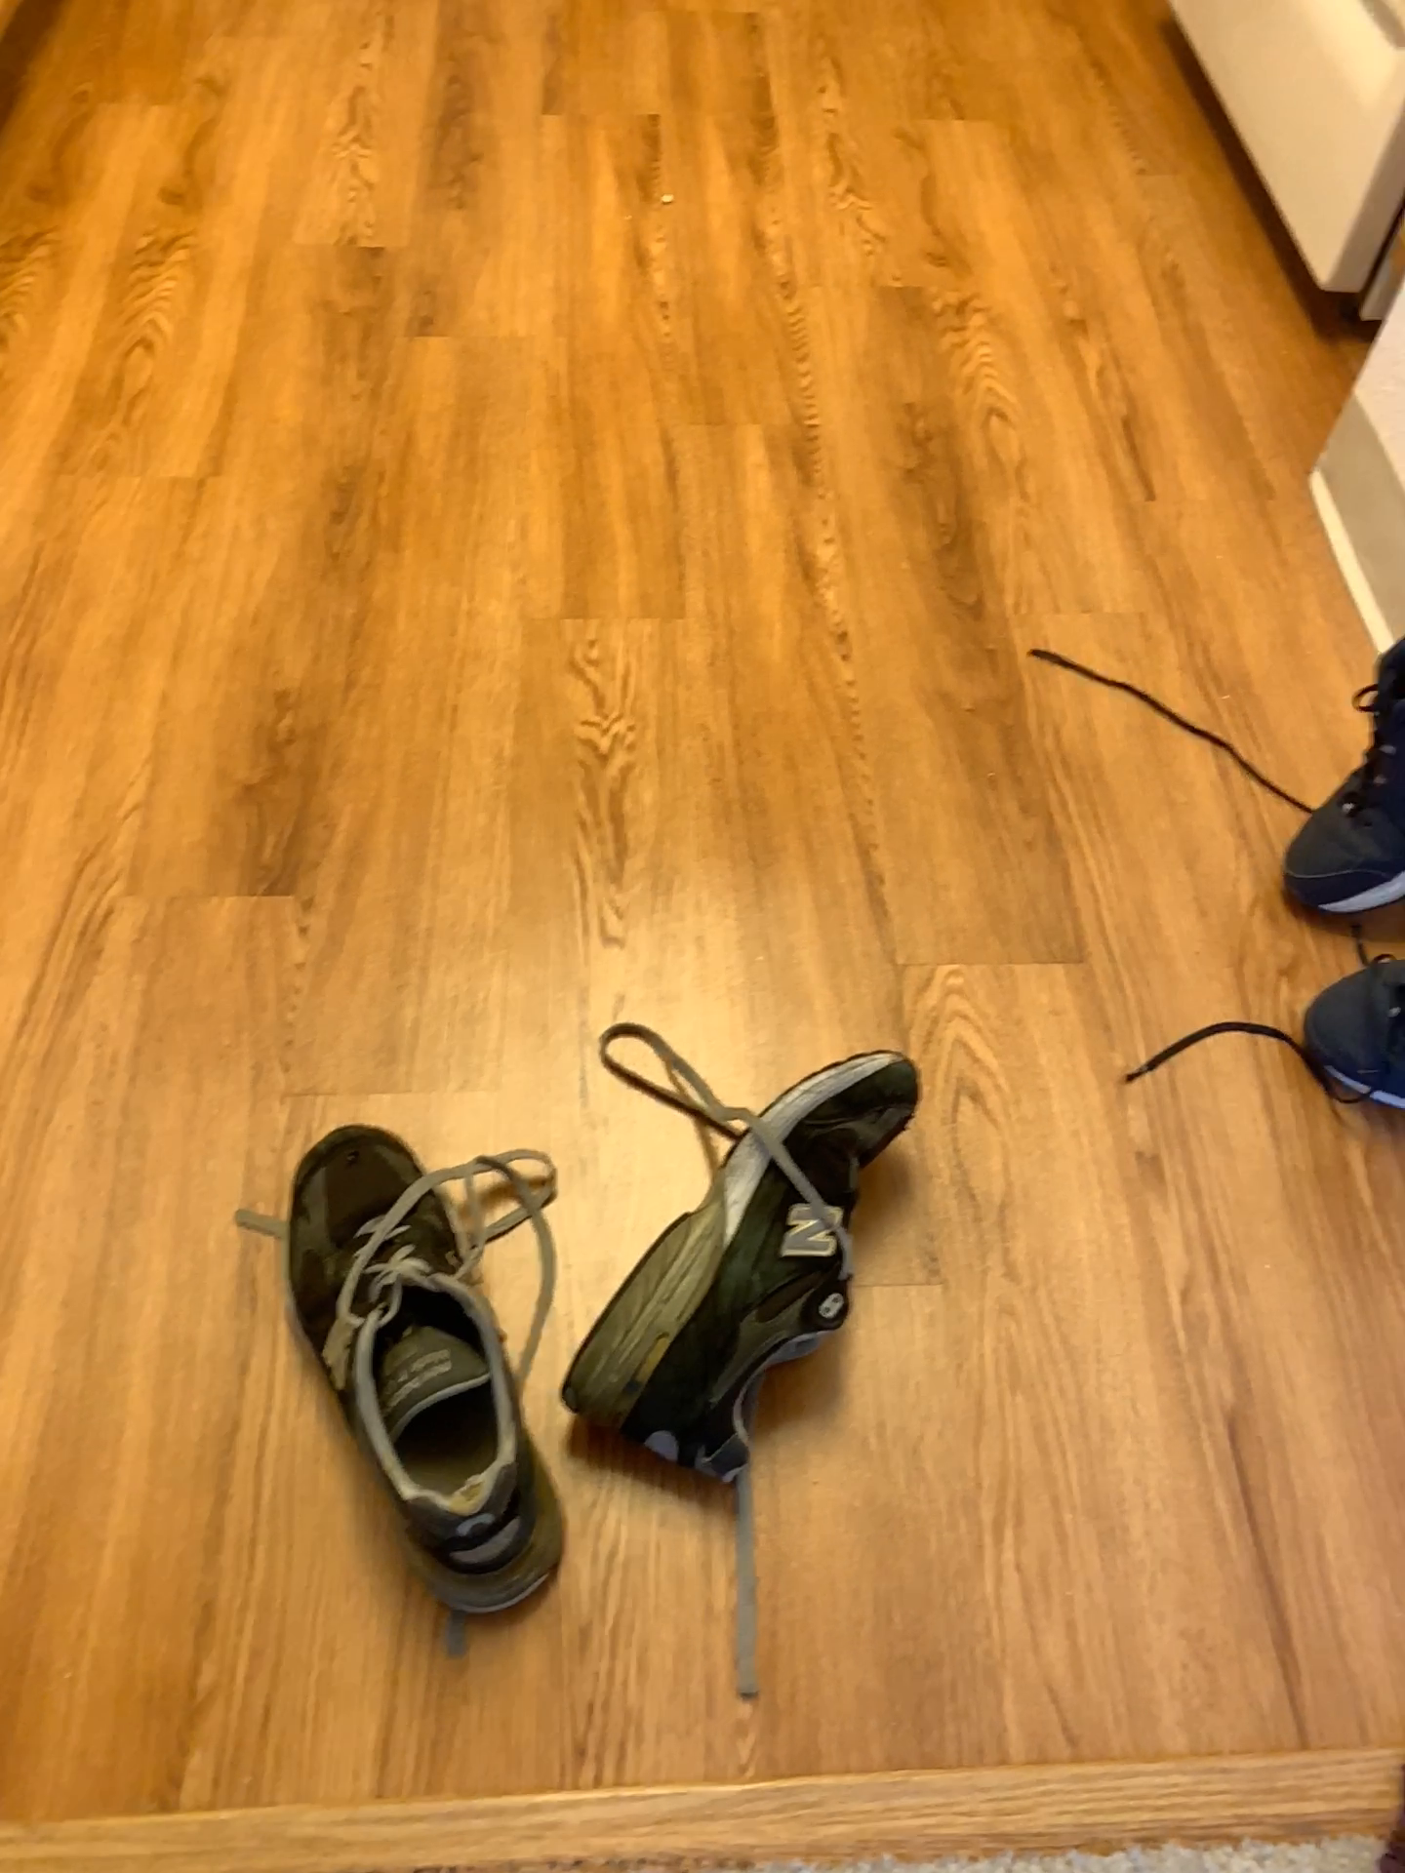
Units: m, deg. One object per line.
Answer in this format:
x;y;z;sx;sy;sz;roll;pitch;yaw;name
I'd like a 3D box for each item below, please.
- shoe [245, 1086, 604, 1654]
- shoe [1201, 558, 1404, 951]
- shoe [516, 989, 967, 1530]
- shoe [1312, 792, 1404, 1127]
-0.183;0.283;0.949;0.120;0.169;0.301;-21;59;-17;shoe
0.573;-0.132;1.122;0.180;0.259;0.151;-1;50;-37;shoe
0.034;0.190;0.884;0.110;0.110;0.301;29;58;24;shoe
0.514;0.027;0.843;0.110;0.260;0.110;10;67;-27;shoe
